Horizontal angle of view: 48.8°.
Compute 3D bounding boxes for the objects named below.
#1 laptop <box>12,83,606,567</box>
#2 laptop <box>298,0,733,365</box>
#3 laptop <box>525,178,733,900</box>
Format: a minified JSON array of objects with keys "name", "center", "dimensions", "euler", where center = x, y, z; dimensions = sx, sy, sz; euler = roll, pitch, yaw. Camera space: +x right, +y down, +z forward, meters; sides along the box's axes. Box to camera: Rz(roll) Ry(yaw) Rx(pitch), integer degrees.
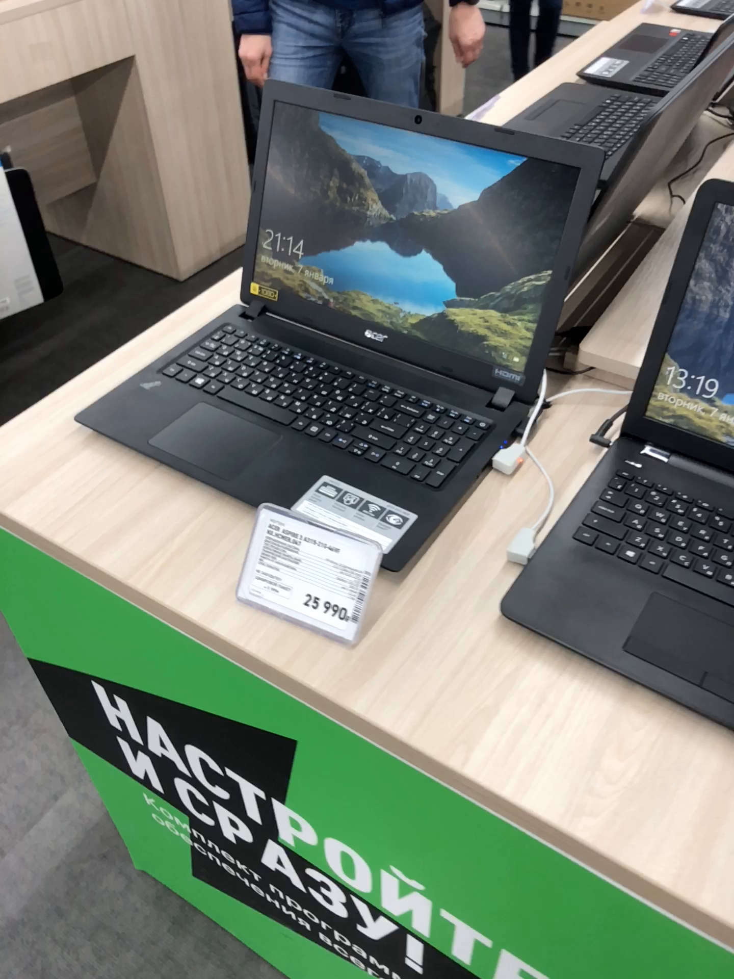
[{"name":"laptop","center":[-0.038,-0.187,0.764],"dimensions":[0.374,0.219,0.348],"euler":[24,49,24]},{"name":"laptop","center":[0.201,-0.406,0.957],"dimensions":[0.396,0.250,0.402],"euler":[22,49,26]},{"name":"laptop","center":[0.341,-0.007,0.555],"dimensions":[0.359,0.220,0.295],"euler":[23,51,25]}]
